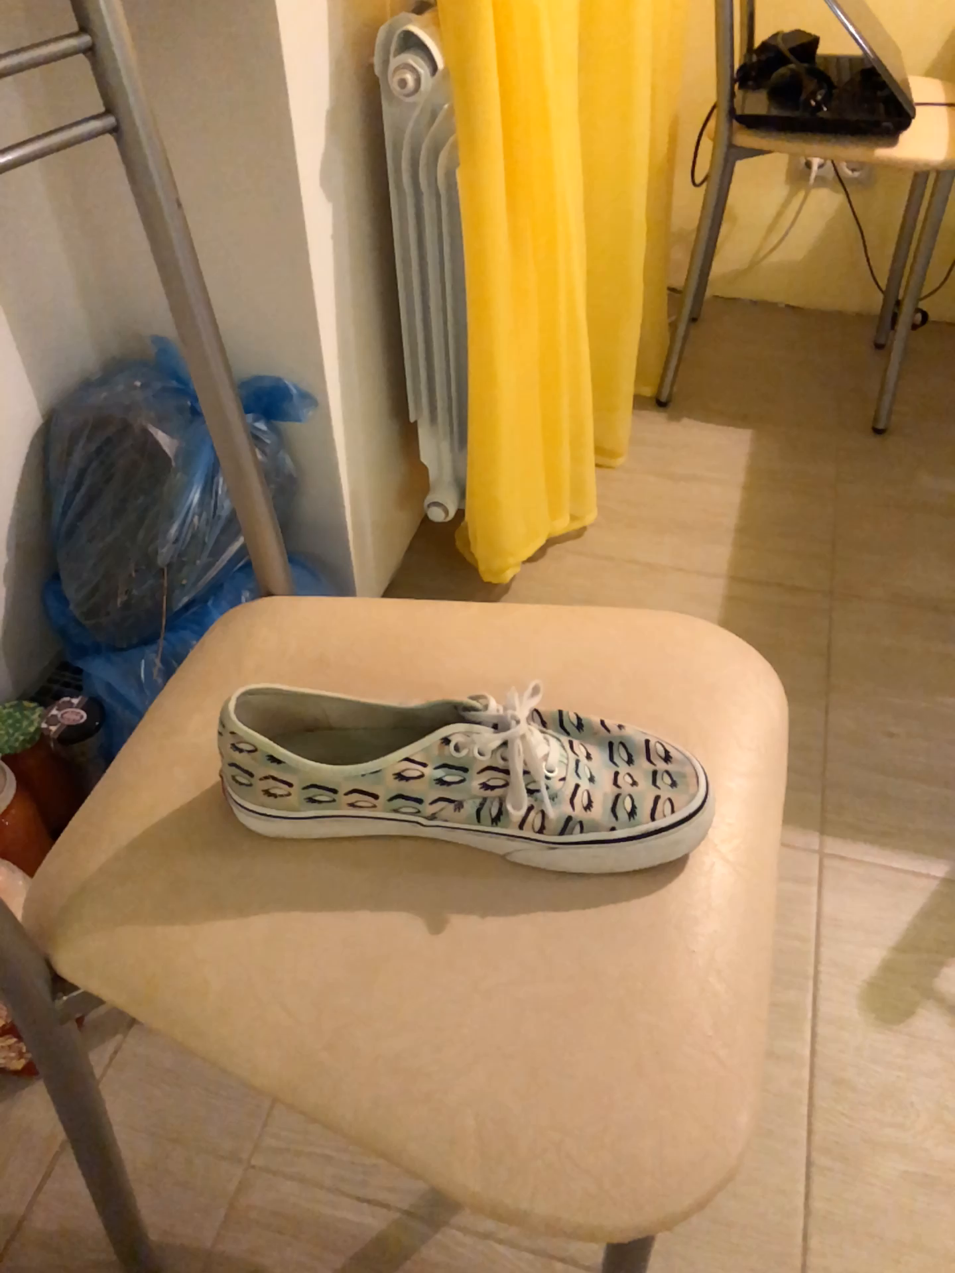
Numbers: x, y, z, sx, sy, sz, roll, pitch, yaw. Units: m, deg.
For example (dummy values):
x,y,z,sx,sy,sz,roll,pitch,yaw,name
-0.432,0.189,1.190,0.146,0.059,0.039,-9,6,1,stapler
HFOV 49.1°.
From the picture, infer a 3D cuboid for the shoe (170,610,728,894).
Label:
x,y,z,sx,sy,sz,roll,pitch,yaw,name
-0.010,0.056,0.546,0.260,0.068,0.111,4,41,5,shoe
